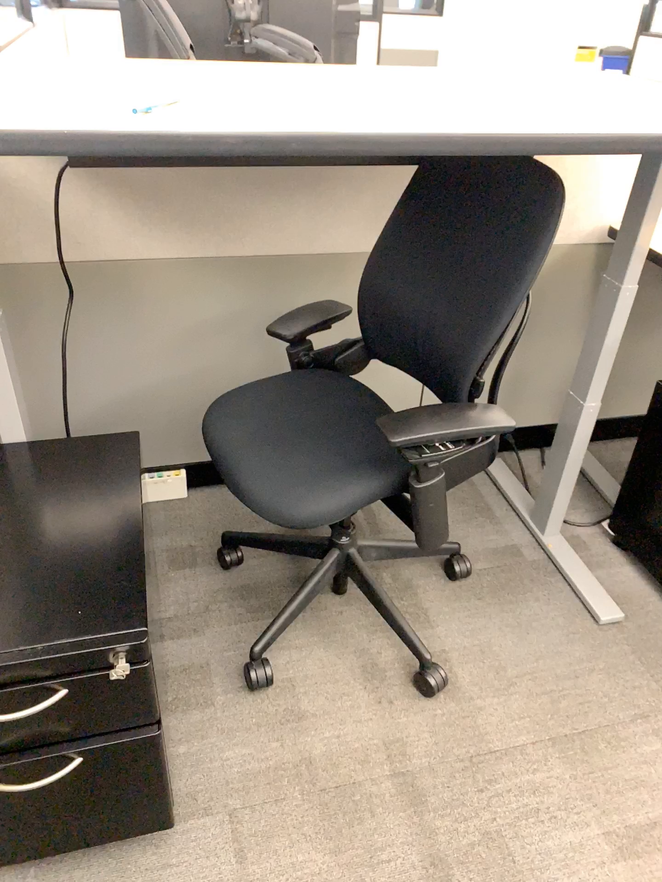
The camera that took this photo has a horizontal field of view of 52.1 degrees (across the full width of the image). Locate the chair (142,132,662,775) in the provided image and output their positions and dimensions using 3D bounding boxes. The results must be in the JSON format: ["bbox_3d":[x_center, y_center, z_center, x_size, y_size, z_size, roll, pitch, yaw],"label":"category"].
[{"bbox_3d":[0.115,-0.063,1.430,0.760,0.954,0.784,-12,37,-25],"label":"chair"}]
